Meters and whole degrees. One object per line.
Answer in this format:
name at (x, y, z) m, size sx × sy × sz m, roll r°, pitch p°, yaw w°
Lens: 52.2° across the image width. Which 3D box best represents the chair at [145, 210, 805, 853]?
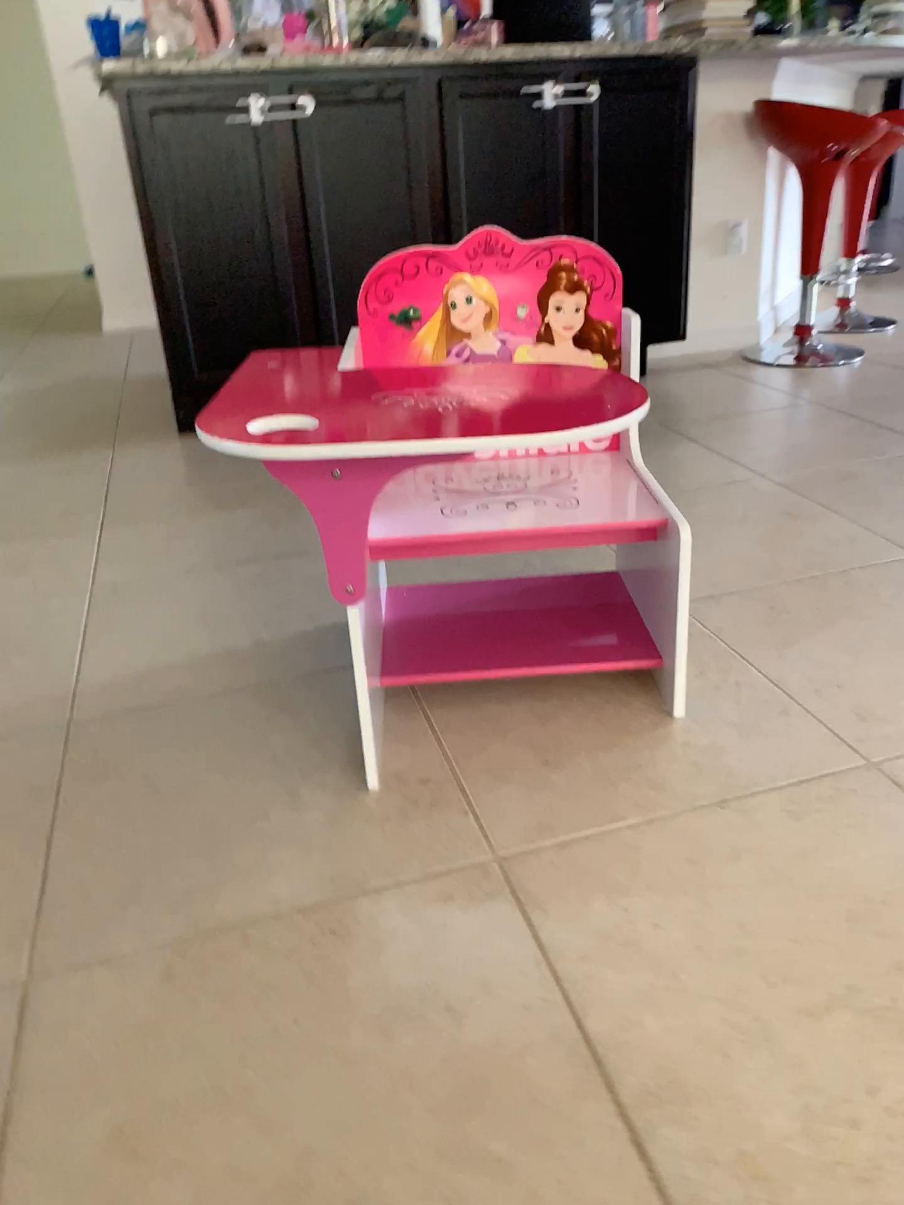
chair at (0.017, -0.137, 1.104) m, size 0.531 × 0.567 × 0.553 m, roll -5°, pitch 24°, yaw -3°
